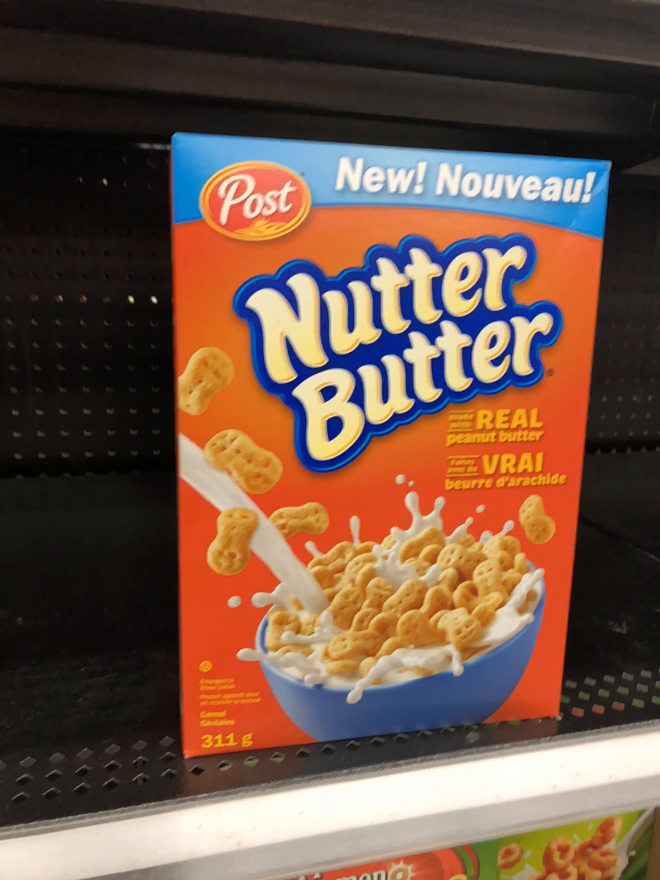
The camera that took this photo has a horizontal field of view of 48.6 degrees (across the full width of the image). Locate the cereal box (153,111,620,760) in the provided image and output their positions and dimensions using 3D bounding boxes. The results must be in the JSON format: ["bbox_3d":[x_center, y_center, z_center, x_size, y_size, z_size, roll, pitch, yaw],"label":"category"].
[{"bbox_3d":[0.020,0.002,0.358,0.200,0.279,0.060,-1,12,-12],"label":"cereal box"}]
